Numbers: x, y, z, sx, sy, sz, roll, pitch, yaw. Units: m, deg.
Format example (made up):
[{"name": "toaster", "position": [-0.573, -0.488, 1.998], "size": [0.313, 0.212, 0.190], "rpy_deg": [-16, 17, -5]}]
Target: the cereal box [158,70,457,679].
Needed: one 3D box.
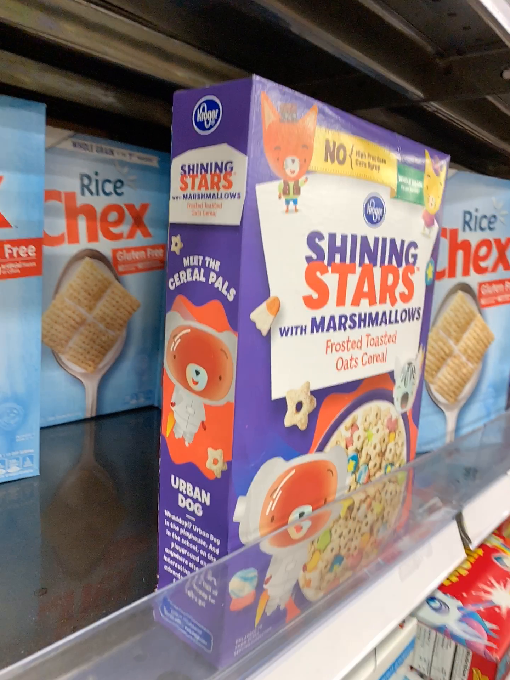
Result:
[{"name": "cereal box", "position": [0.042, 0.014, 0.318], "size": [0.050, 0.269, 0.200], "rpy_deg": [12, 13, 41]}]
